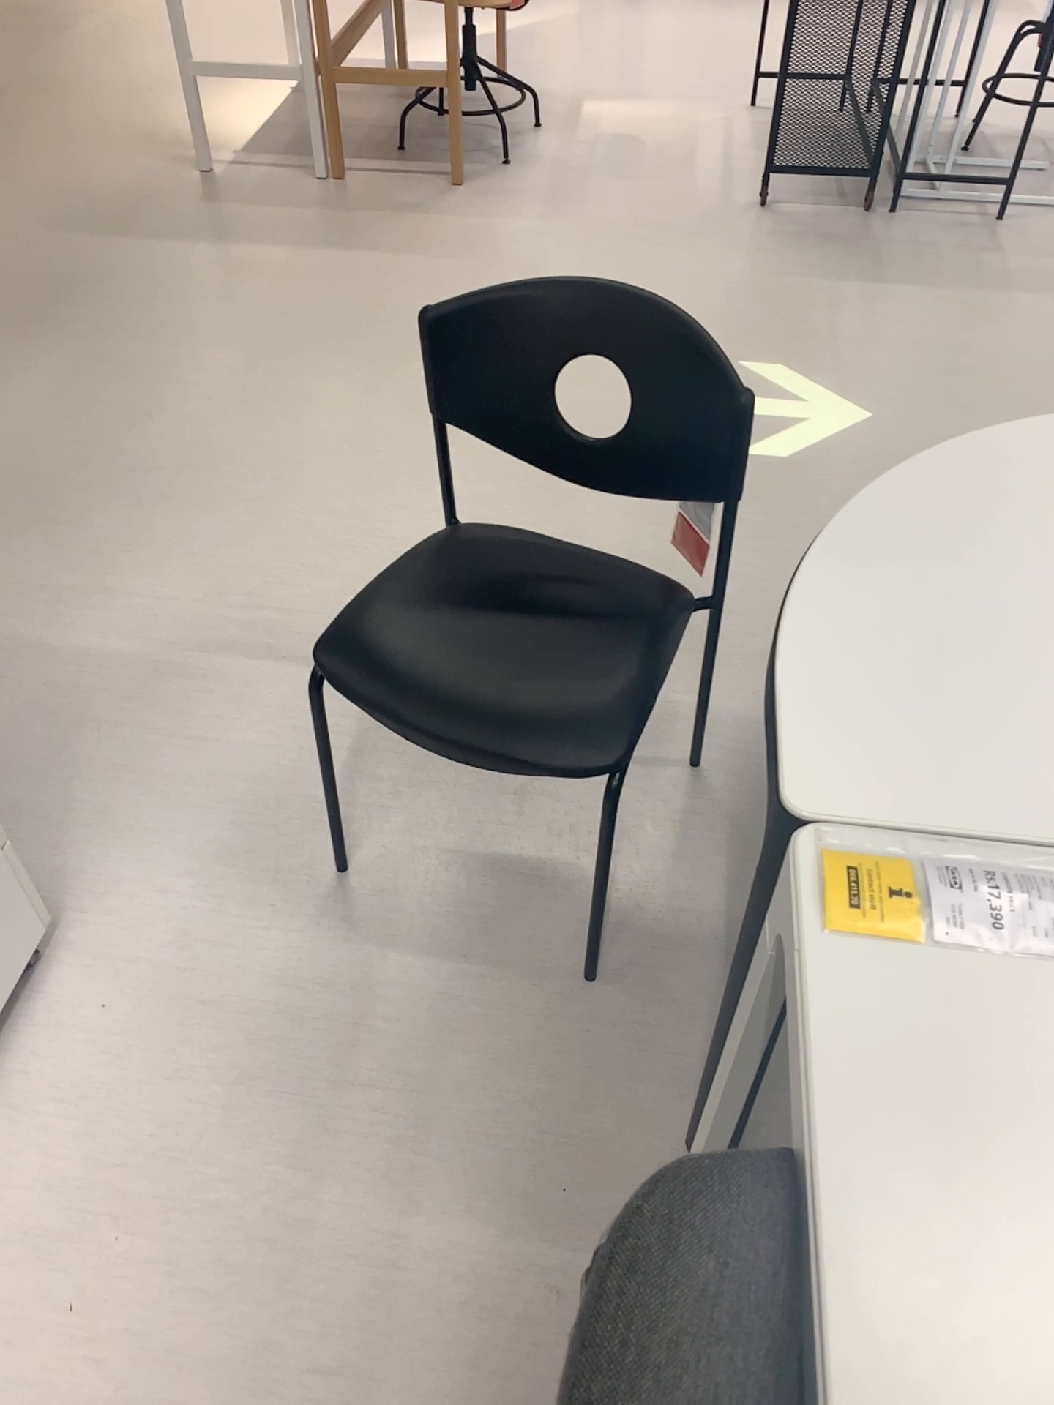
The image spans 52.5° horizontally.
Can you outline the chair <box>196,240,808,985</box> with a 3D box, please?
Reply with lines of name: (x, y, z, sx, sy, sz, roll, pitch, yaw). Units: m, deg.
chair: (0.000, -0.126, 1.502, 0.511, 0.737, 0.582, 18, 48, 16)
